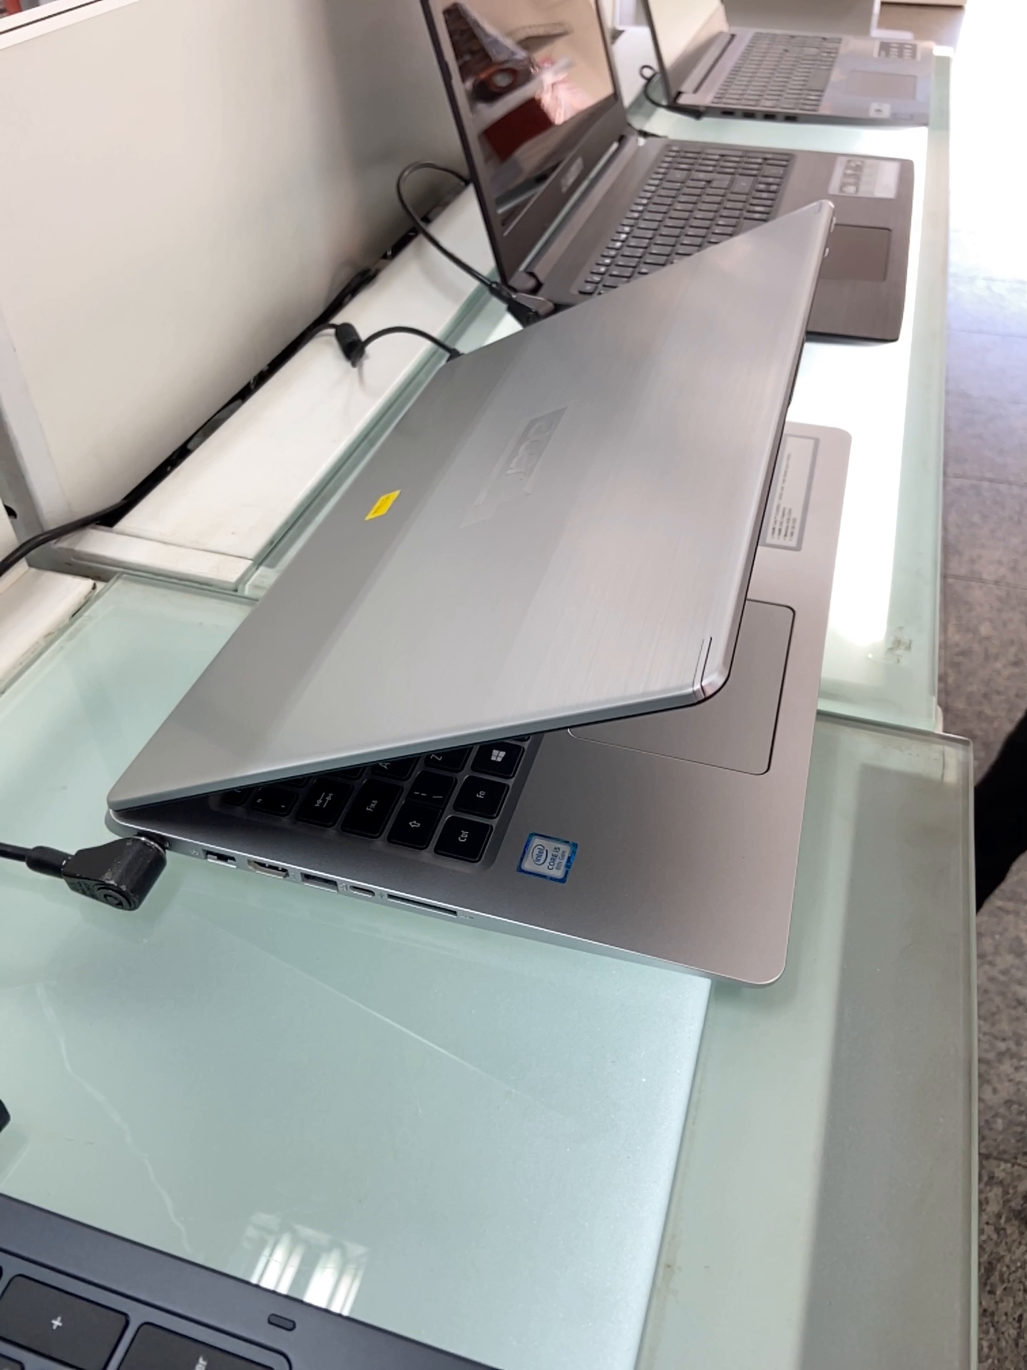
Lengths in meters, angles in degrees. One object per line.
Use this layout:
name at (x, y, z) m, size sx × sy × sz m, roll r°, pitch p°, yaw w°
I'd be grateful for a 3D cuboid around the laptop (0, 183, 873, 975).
laptop at (0.012, -0.091, 0.454) m, size 0.245 × 0.116 × 0.366 m, roll 10°, pitch 42°, yaw 12°
